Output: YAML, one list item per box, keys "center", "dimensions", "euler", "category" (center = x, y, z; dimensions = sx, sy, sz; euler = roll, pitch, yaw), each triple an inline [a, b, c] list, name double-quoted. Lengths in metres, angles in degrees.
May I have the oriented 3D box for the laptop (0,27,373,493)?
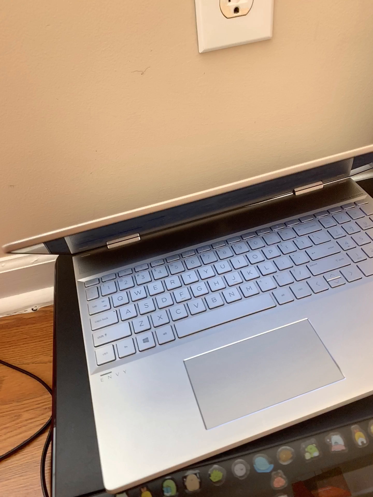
- center: [0.066, -0.019, 0.310]
  dimensions: [0.350, 0.169, 0.238]
  euler: [-16, 46, -9]
  category: "laptop"
